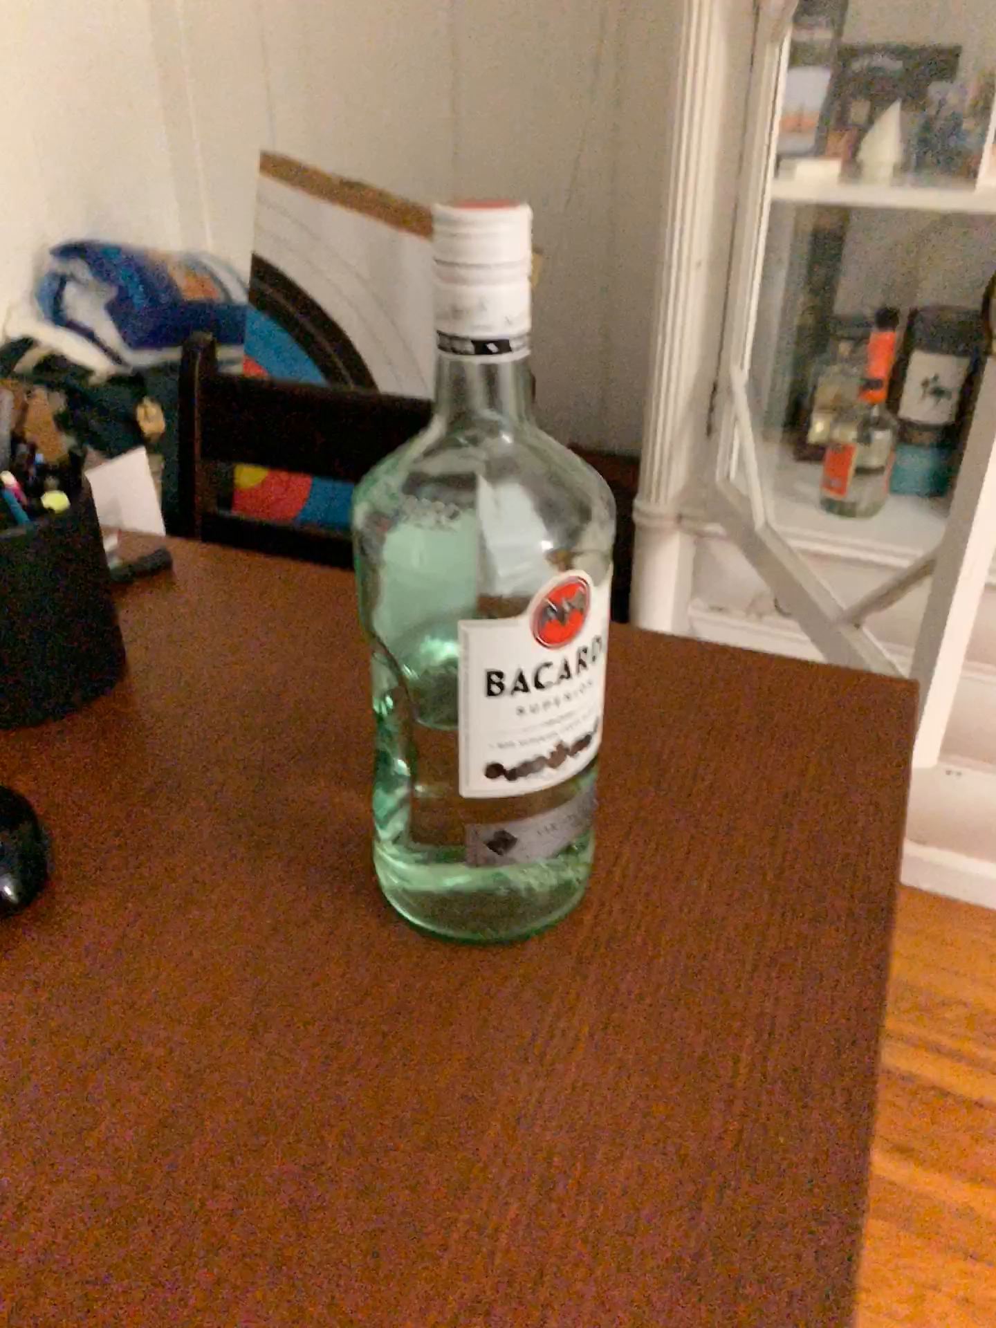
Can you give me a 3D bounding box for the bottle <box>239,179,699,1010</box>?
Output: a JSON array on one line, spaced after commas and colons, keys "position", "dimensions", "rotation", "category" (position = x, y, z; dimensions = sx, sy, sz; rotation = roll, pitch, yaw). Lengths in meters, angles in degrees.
[{"position": [-0.013, -0.026, 0.458], "dimensions": [0.120, 0.328, 0.121], "rotation": [0, 31, 0], "category": "bottle"}]
